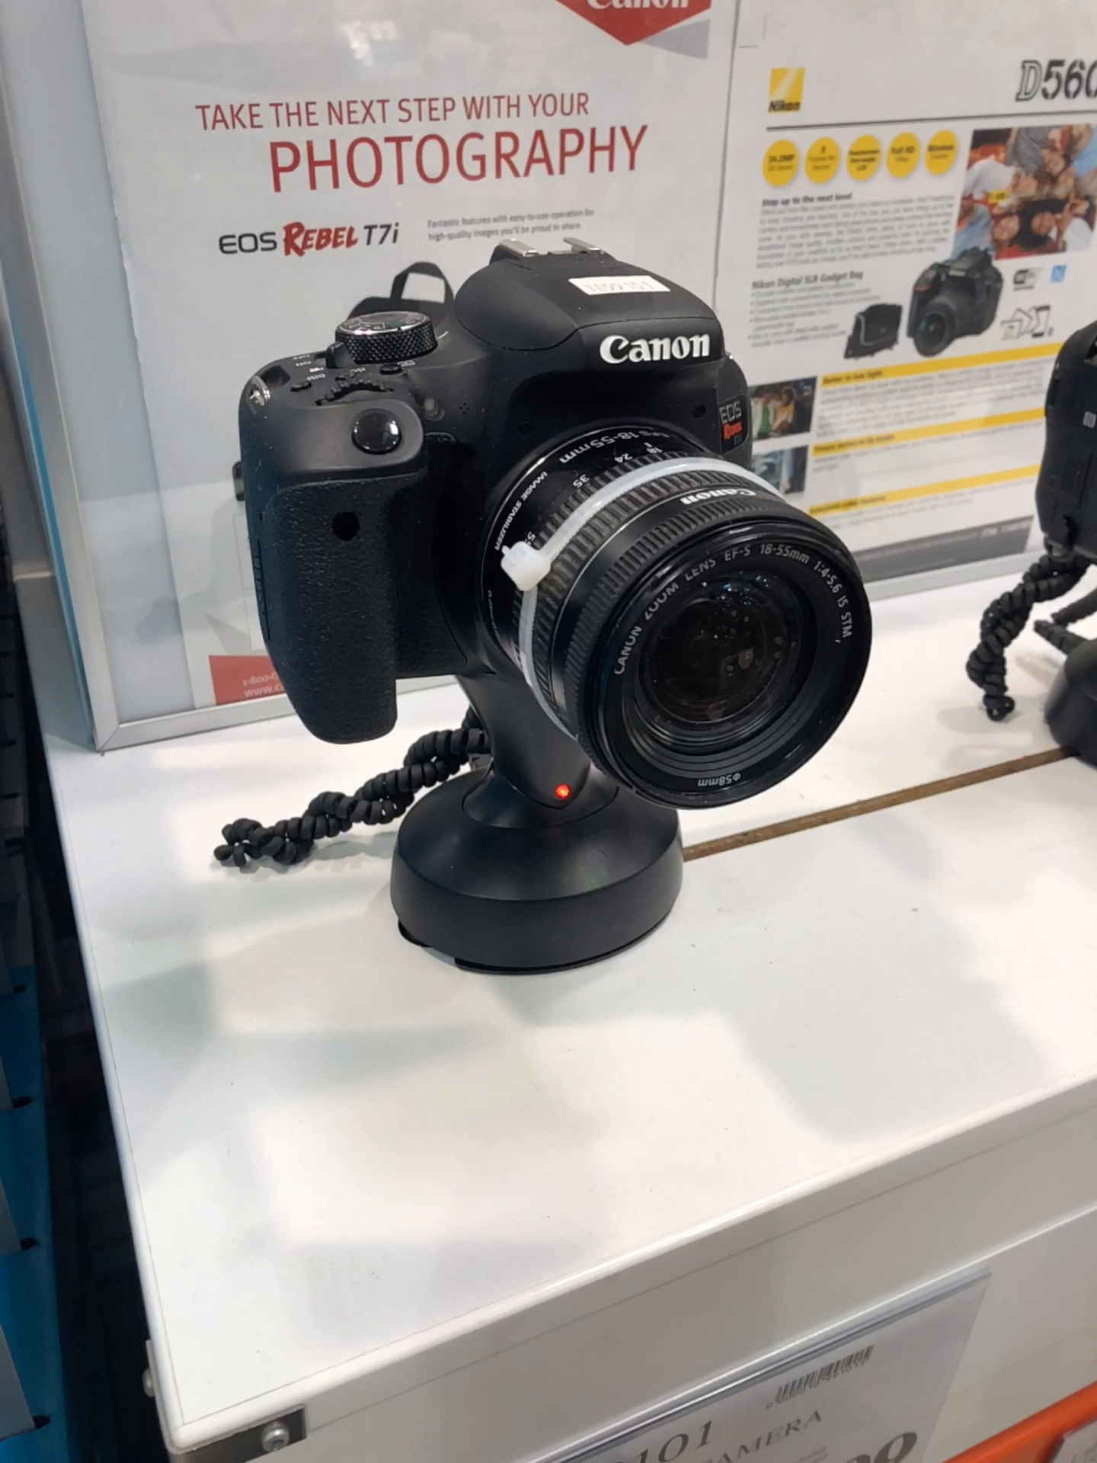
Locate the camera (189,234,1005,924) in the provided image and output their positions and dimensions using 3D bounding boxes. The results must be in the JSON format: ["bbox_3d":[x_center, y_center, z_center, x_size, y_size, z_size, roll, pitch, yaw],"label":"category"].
[{"bbox_3d":[-0.002,-0.054,0.300,0.130,0.100,0.151,-12,34,-22],"label":"camera"}]
